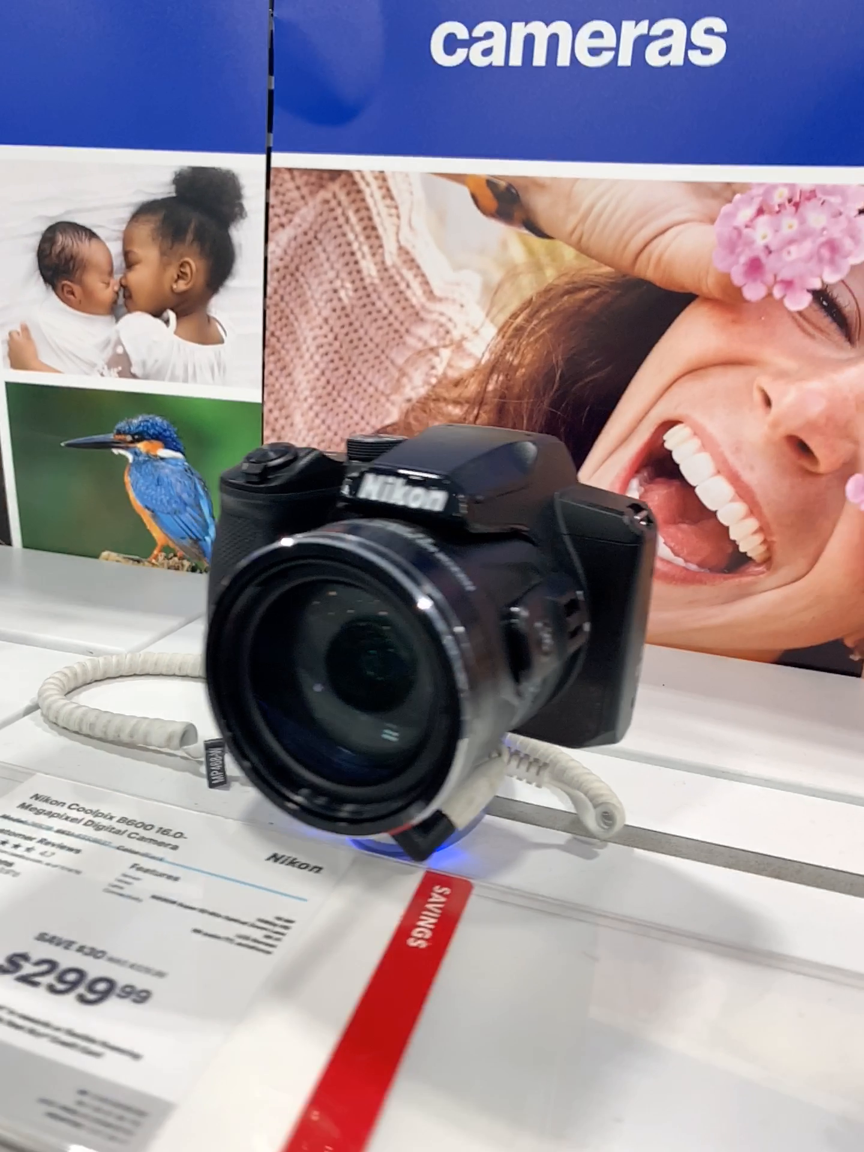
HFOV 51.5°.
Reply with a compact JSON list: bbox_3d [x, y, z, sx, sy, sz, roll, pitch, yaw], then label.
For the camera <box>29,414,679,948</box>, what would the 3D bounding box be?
[{"bbox_3d":[-0.014,0.008,0.220,0.120,0.080,0.100,11,15,21],"label":"camera"}]
